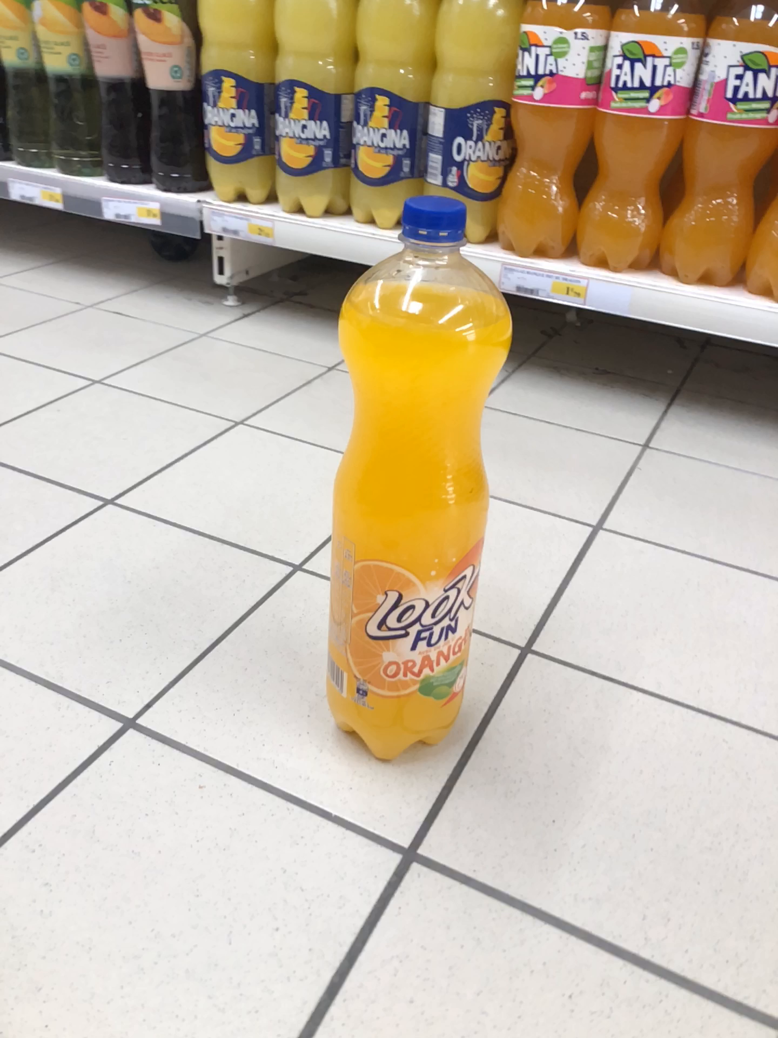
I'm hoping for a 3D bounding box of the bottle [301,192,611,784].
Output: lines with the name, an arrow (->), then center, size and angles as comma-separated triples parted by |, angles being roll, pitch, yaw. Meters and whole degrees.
bottle -> 0.019, -0.010, 0.464 | 0.110, 0.298, 0.100 | 3, 30, -2
